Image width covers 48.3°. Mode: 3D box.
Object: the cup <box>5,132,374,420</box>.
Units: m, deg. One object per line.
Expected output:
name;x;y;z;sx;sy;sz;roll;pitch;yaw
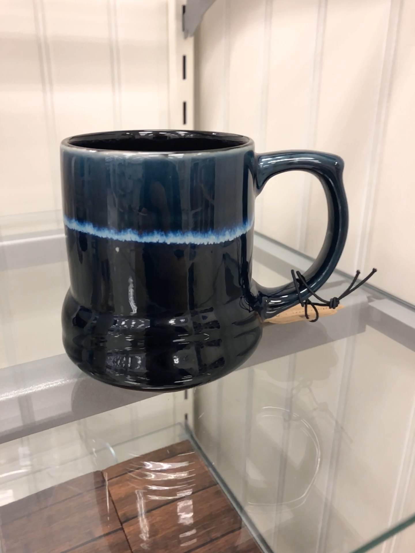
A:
cup;-0.012;-0.012;0.239;0.140;0.109;0.101;-4;23;-11
